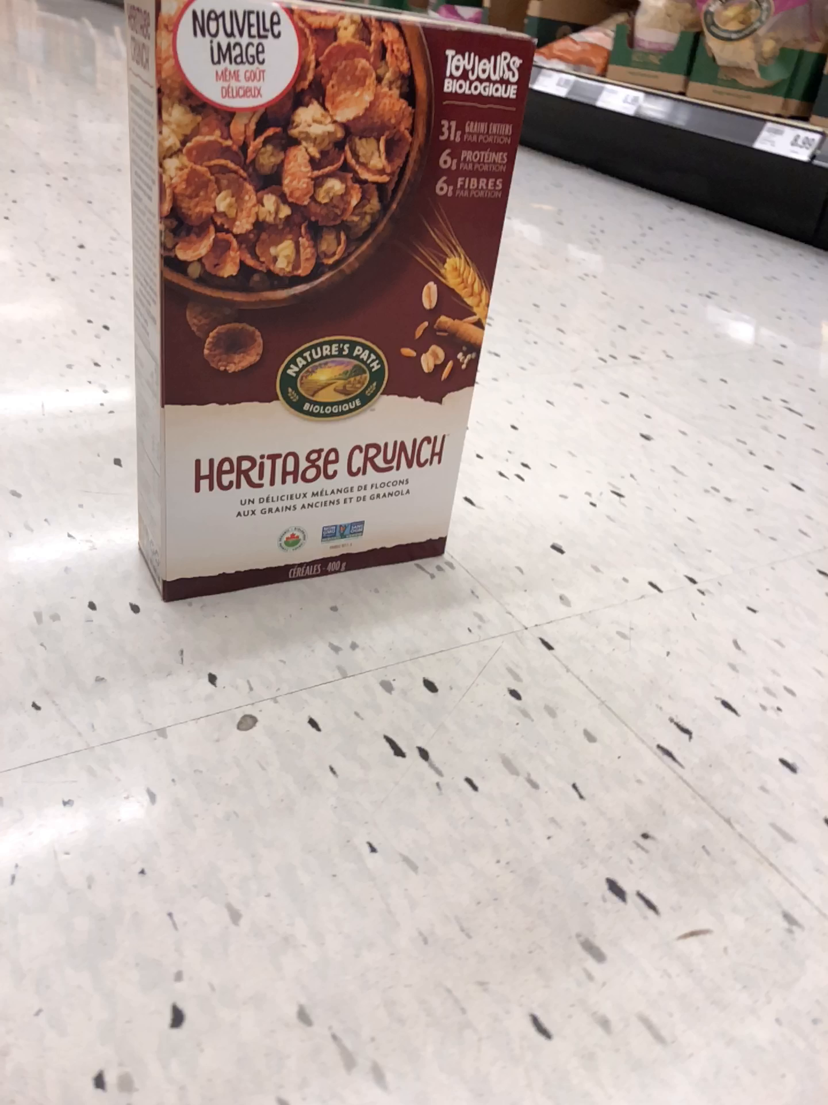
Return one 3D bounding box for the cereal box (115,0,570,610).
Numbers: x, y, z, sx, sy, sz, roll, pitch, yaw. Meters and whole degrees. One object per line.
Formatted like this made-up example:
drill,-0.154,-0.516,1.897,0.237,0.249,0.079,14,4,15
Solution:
cereal box,-0.040,-0.107,0.424,0.170,0.248,0.060,-9,35,-27
